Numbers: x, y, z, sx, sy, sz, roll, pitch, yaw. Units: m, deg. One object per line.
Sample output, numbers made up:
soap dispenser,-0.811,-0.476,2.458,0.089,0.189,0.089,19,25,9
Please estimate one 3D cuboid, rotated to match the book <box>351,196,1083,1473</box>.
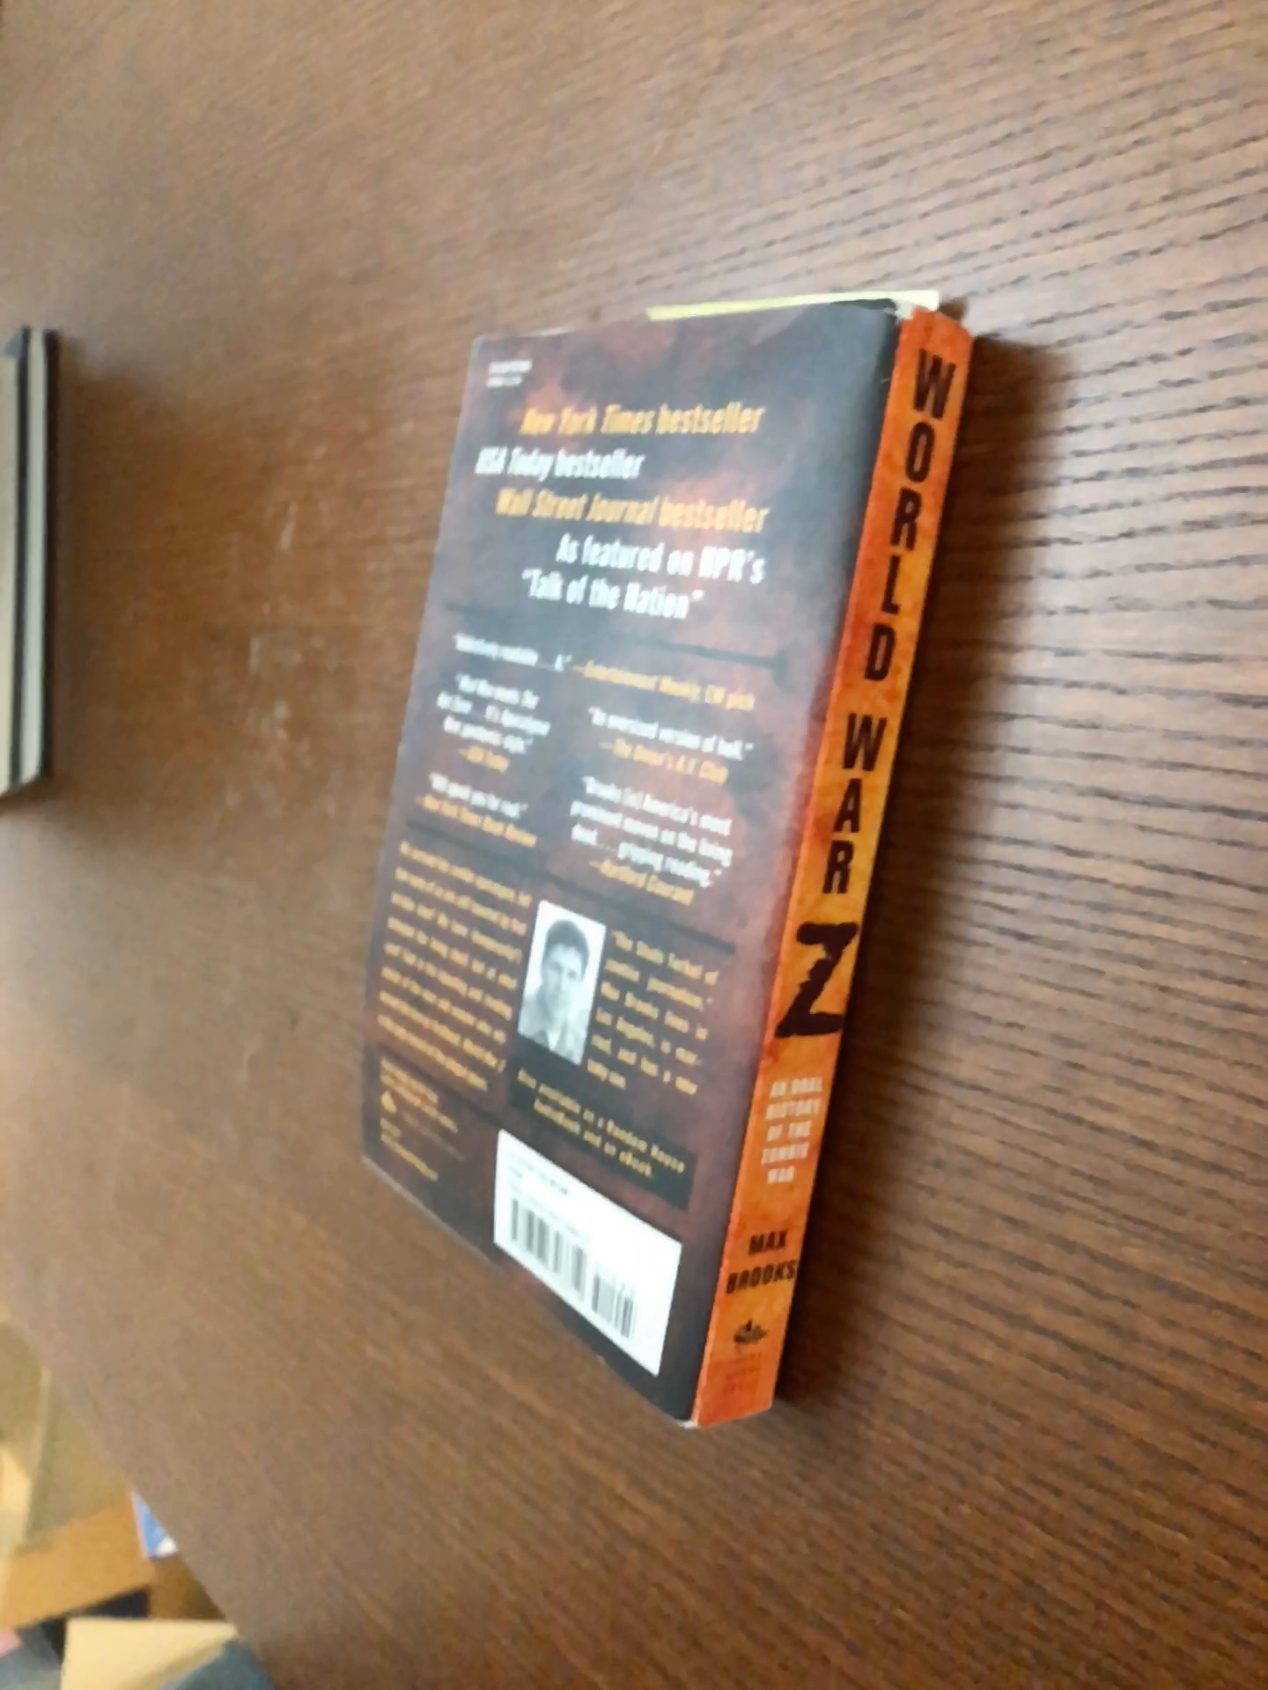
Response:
book,0.002,-0.010,0.300,0.141,0.030,0.220,21,104,50
